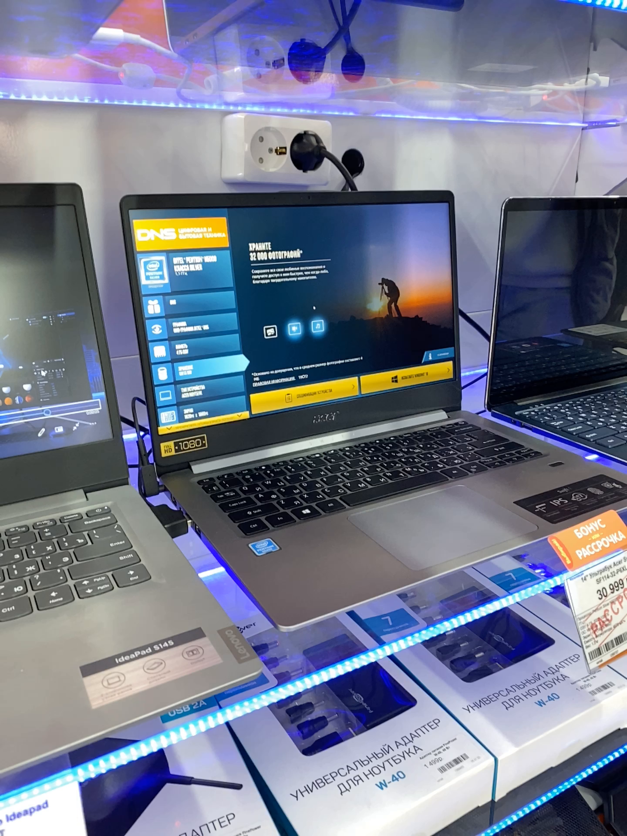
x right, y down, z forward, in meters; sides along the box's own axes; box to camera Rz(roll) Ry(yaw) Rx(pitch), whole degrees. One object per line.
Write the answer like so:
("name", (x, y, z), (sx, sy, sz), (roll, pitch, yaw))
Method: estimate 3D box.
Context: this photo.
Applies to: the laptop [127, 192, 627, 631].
("laptop", (0.063, -0.055, 0.475), (0.319, 0.206, 0.258), (-11, 22, -28))
